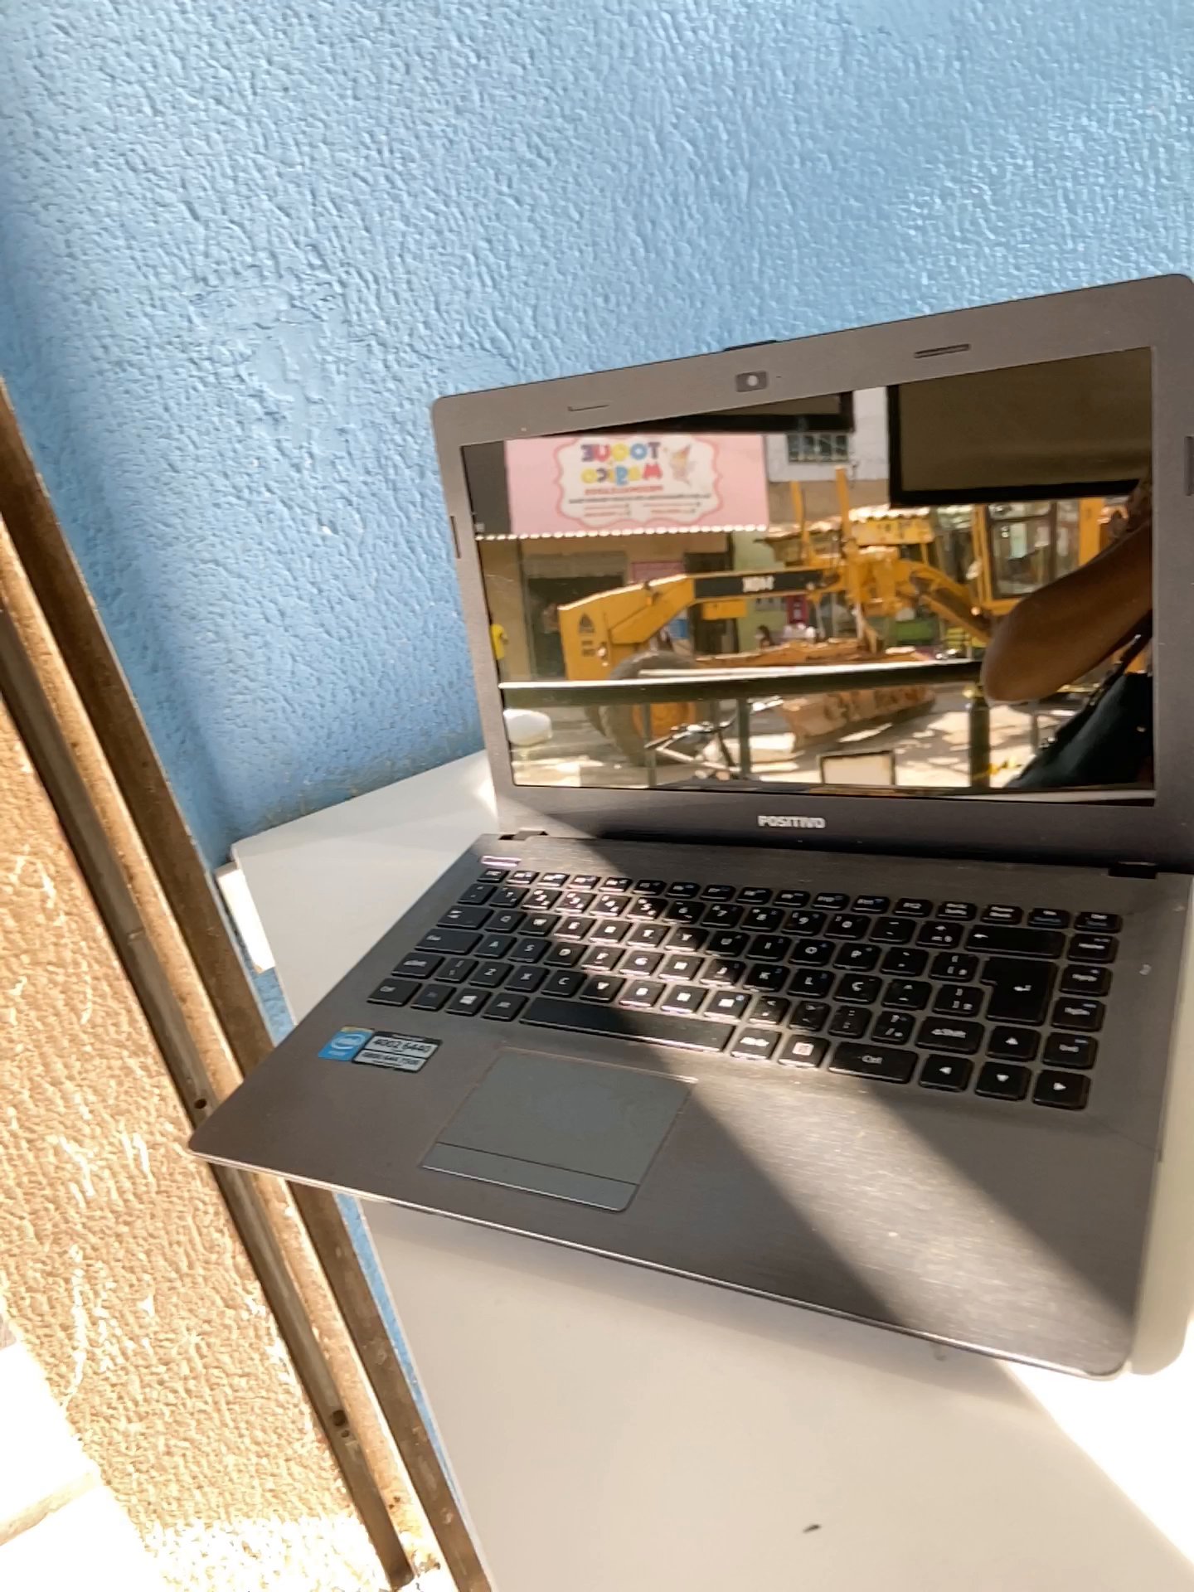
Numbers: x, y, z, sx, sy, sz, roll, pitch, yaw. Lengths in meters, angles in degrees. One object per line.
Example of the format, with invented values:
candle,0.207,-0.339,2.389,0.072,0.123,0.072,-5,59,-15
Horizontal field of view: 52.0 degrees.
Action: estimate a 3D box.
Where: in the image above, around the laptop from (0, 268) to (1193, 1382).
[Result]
laptop,0.023,-0.025,0.452,0.334,0.212,0.284,1,29,31
